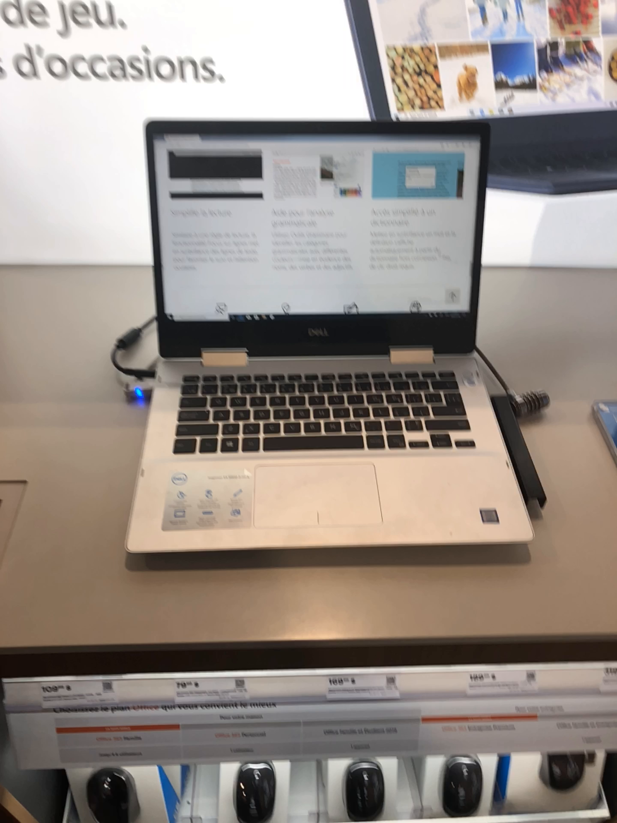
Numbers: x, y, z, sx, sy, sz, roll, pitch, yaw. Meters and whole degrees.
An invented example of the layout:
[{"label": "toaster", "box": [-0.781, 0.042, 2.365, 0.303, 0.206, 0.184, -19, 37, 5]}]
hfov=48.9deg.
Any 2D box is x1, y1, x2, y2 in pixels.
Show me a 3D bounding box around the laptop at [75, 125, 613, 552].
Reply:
[{"label": "laptop", "box": [0.014, -0.081, 0.586, 0.316, 0.193, 0.338, -1, 45, -2]}]
